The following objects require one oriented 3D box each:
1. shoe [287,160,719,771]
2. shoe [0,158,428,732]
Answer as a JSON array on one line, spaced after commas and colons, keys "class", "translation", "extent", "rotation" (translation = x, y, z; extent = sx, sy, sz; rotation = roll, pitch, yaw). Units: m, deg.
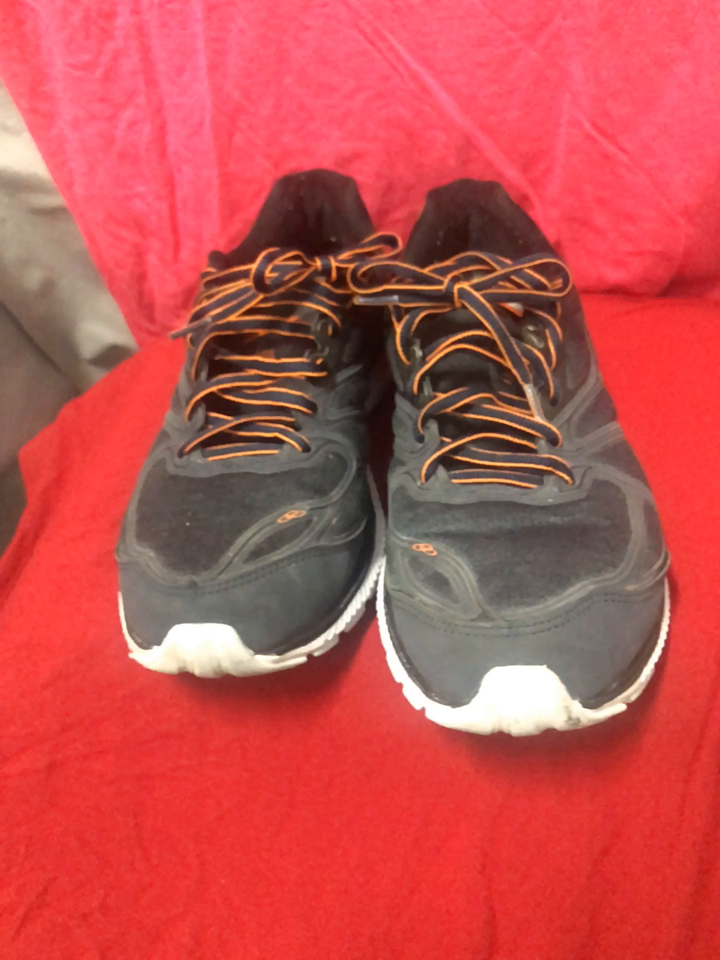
[{"class": "shoe", "translation": [0.046, -0.034, 0.342], "extent": [0.110, 0.099, 0.282], "rotation": [-4, 39, 6]}, {"class": "shoe", "translation": [-0.041, -0.044, 0.350], "extent": [0.110, 0.089, 0.282], "rotation": [1, 40, 11]}]
